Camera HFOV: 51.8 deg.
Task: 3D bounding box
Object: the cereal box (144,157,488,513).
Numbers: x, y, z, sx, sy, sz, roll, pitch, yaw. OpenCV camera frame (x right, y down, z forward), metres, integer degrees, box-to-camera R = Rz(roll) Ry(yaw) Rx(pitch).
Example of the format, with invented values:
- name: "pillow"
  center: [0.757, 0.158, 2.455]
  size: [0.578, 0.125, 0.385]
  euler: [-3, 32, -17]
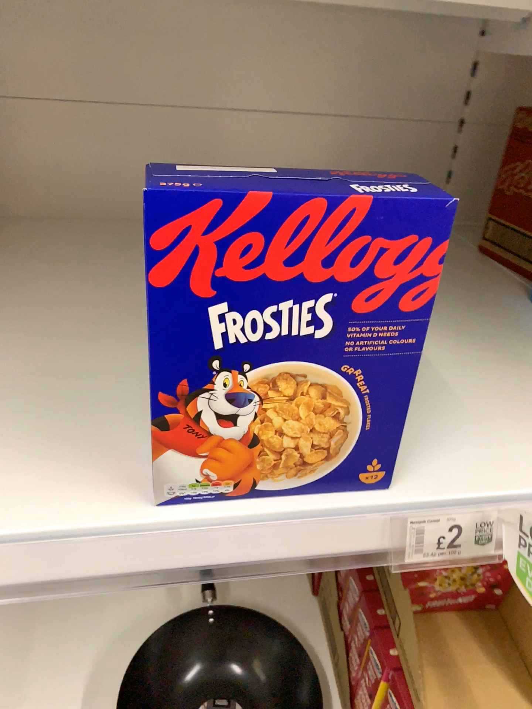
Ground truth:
- name: "cereal box"
  center: [0.018, -0.008, 0.401]
  size: [0.200, 0.238, 0.081]
  euler: [-1, 30, -11]
